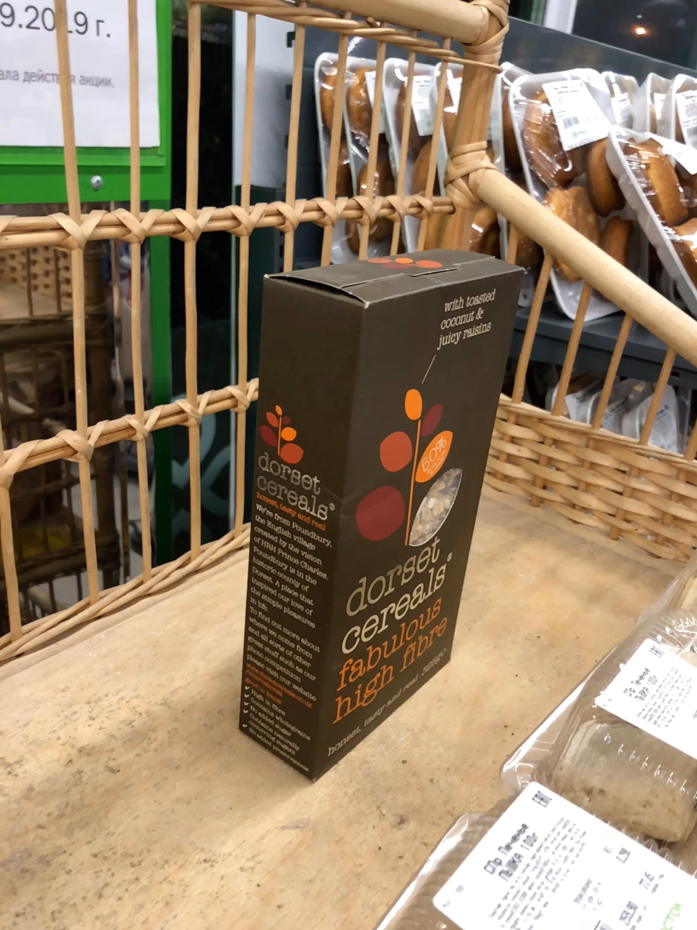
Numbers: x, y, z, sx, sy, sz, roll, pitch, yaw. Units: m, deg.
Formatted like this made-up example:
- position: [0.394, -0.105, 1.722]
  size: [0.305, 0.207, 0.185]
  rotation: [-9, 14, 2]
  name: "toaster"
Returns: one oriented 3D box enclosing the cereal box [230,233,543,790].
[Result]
- position: [0.015, 0.014, 0.339]
  size: [0.050, 0.209, 0.130]
  rotation: [22, 29, 32]
  name: "cereal box"
